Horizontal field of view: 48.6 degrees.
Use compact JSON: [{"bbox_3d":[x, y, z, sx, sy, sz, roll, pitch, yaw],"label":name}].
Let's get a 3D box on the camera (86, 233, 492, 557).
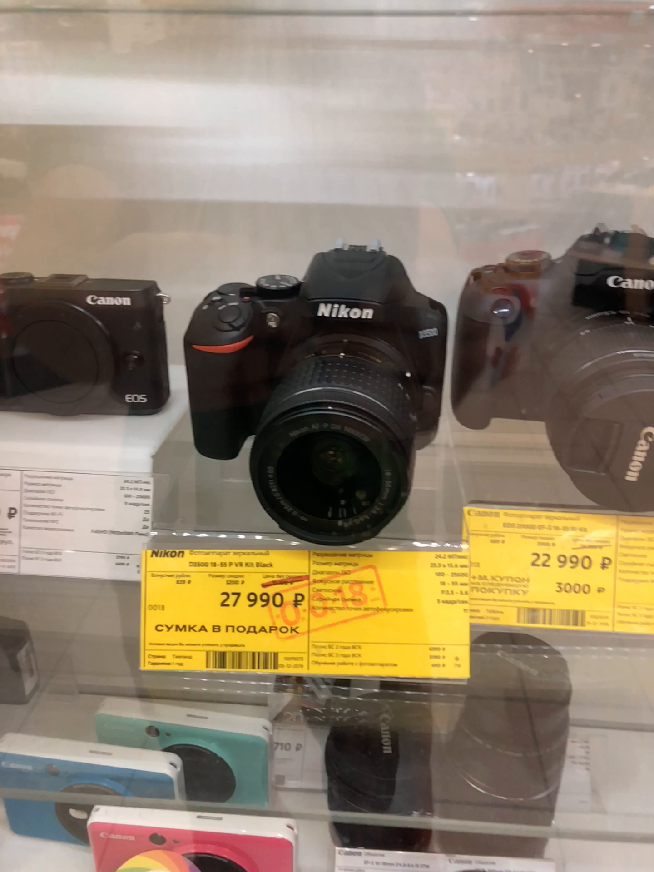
[{"bbox_3d":[-0.009,-0.026,0.304,0.130,0.092,0.121,2,25,4],"label":"camera"}]
